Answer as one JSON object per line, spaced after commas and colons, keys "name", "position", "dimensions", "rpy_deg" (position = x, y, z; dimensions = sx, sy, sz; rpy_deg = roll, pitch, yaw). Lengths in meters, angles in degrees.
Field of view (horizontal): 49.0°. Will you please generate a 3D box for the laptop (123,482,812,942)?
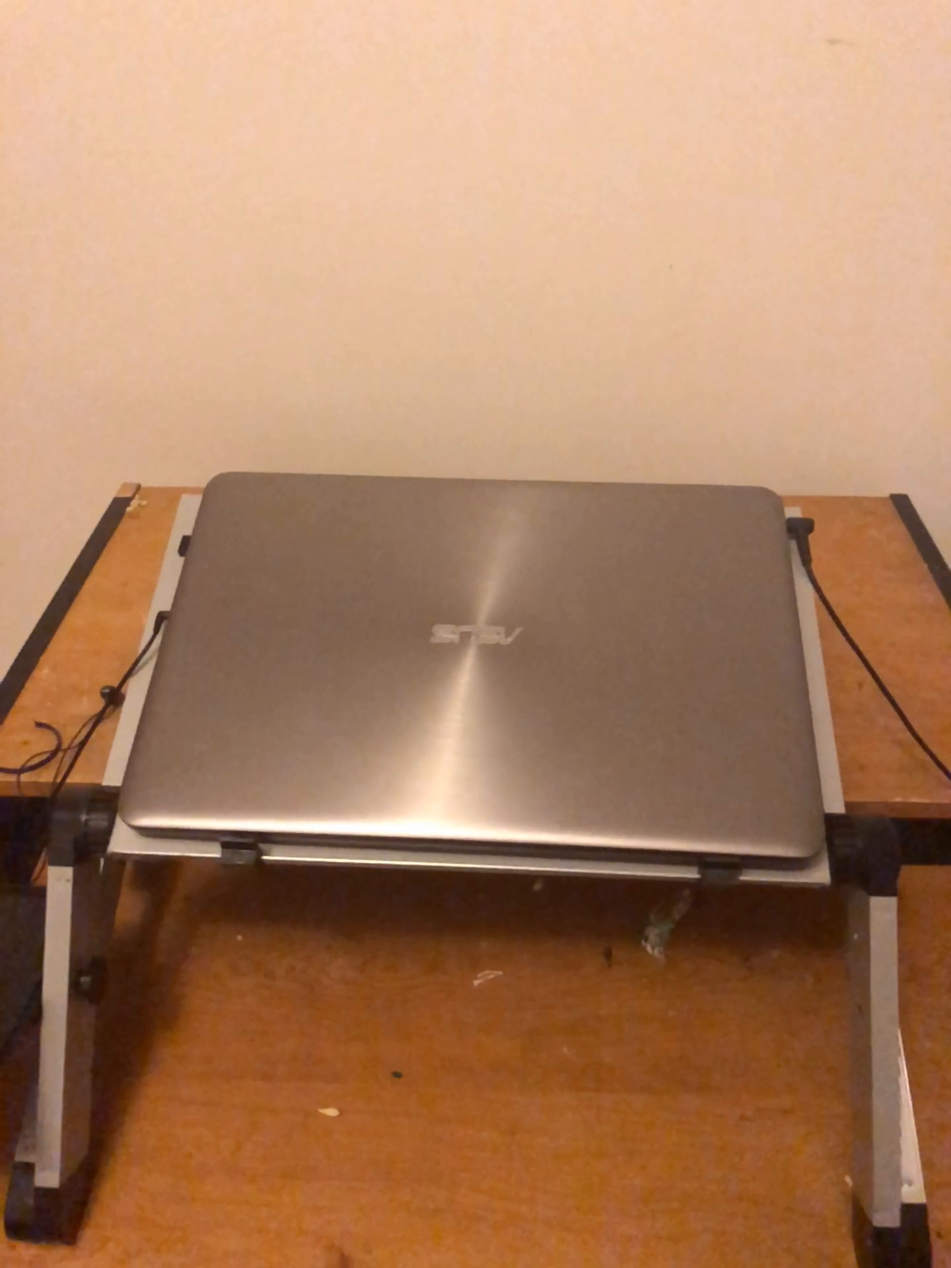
{"name": "laptop", "position": [-0.001, 0.033, 0.640], "dimensions": [0.361, 0.071, 0.250], "rpy_deg": [2, 53, 5]}
